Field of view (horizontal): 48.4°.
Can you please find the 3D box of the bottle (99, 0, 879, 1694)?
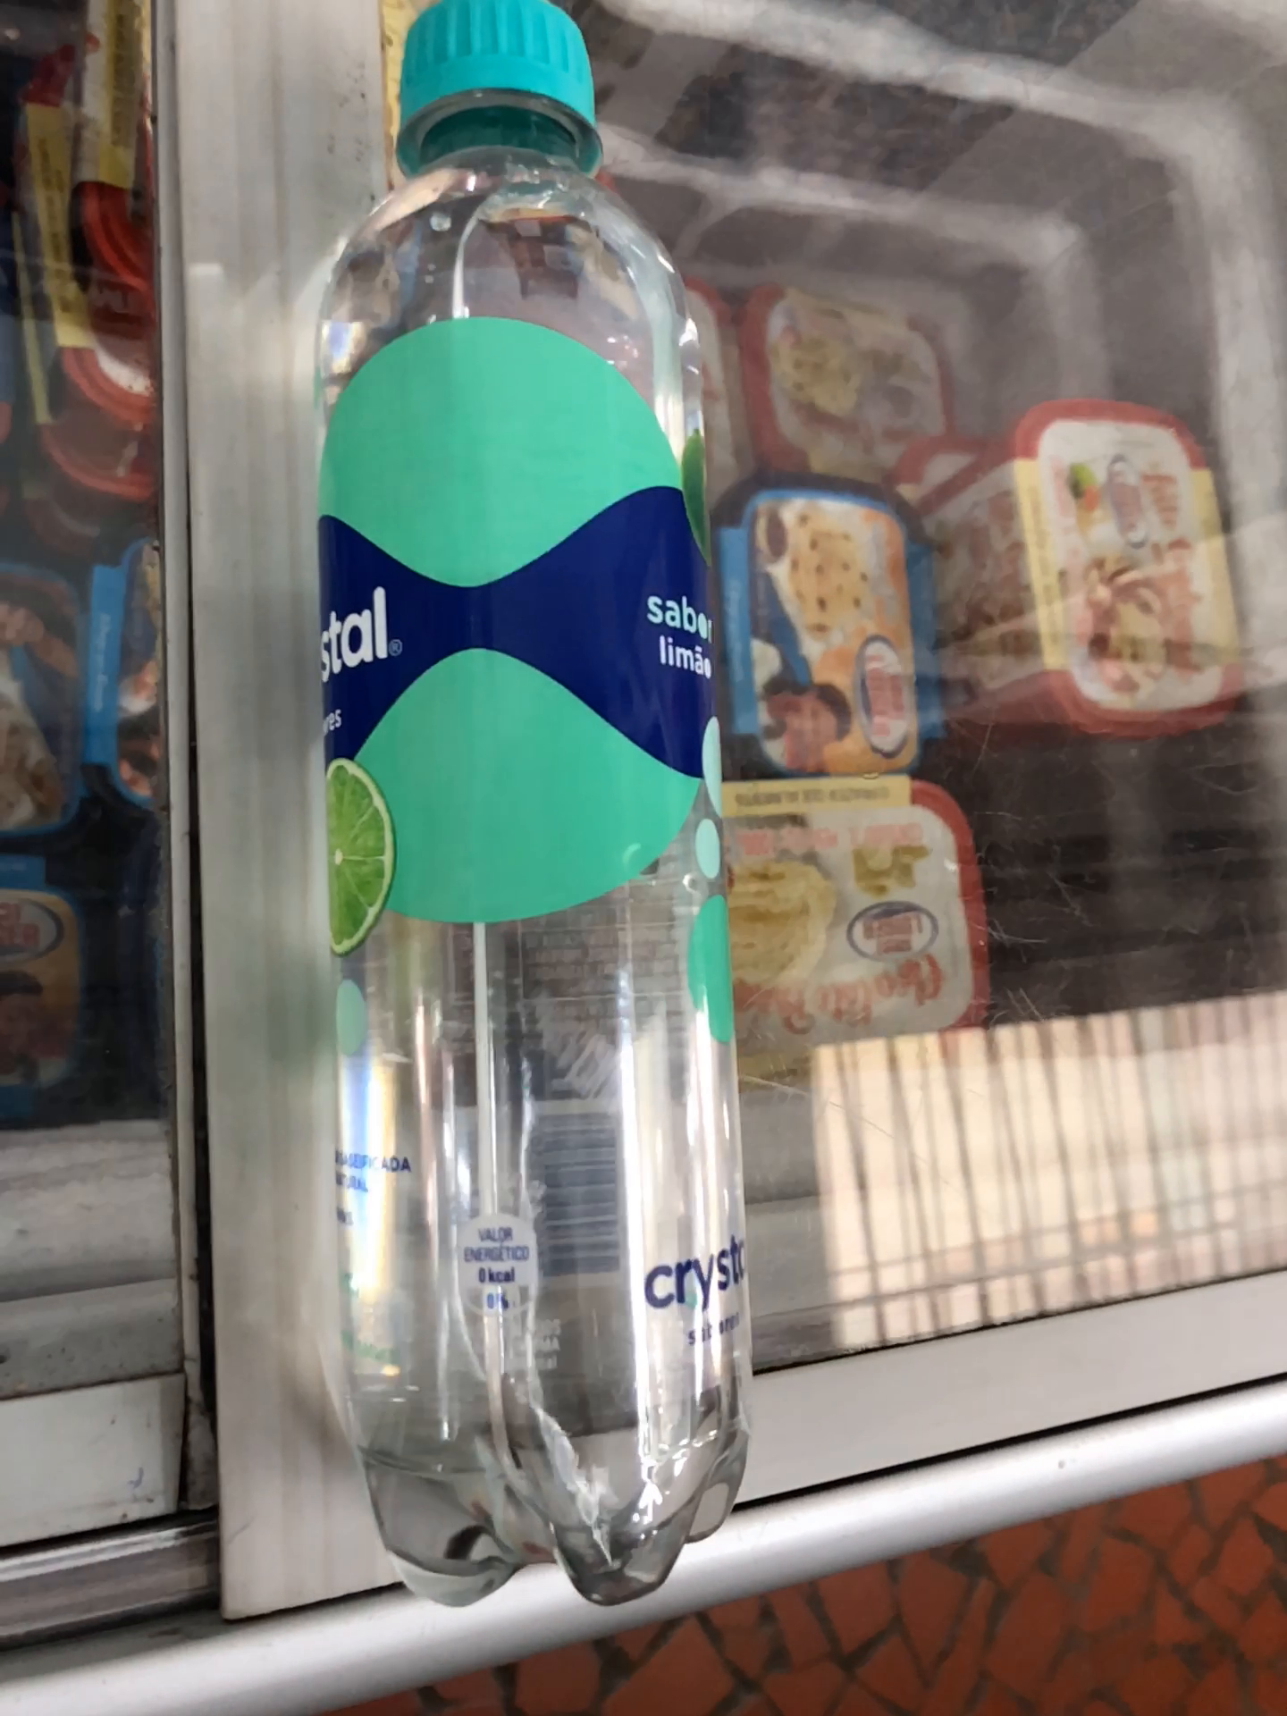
[{"bbox_3d":[-0.020,-0.017,0.221,0.070,0.070,0.240,-7,93,-59],"label":"bottle"}]
